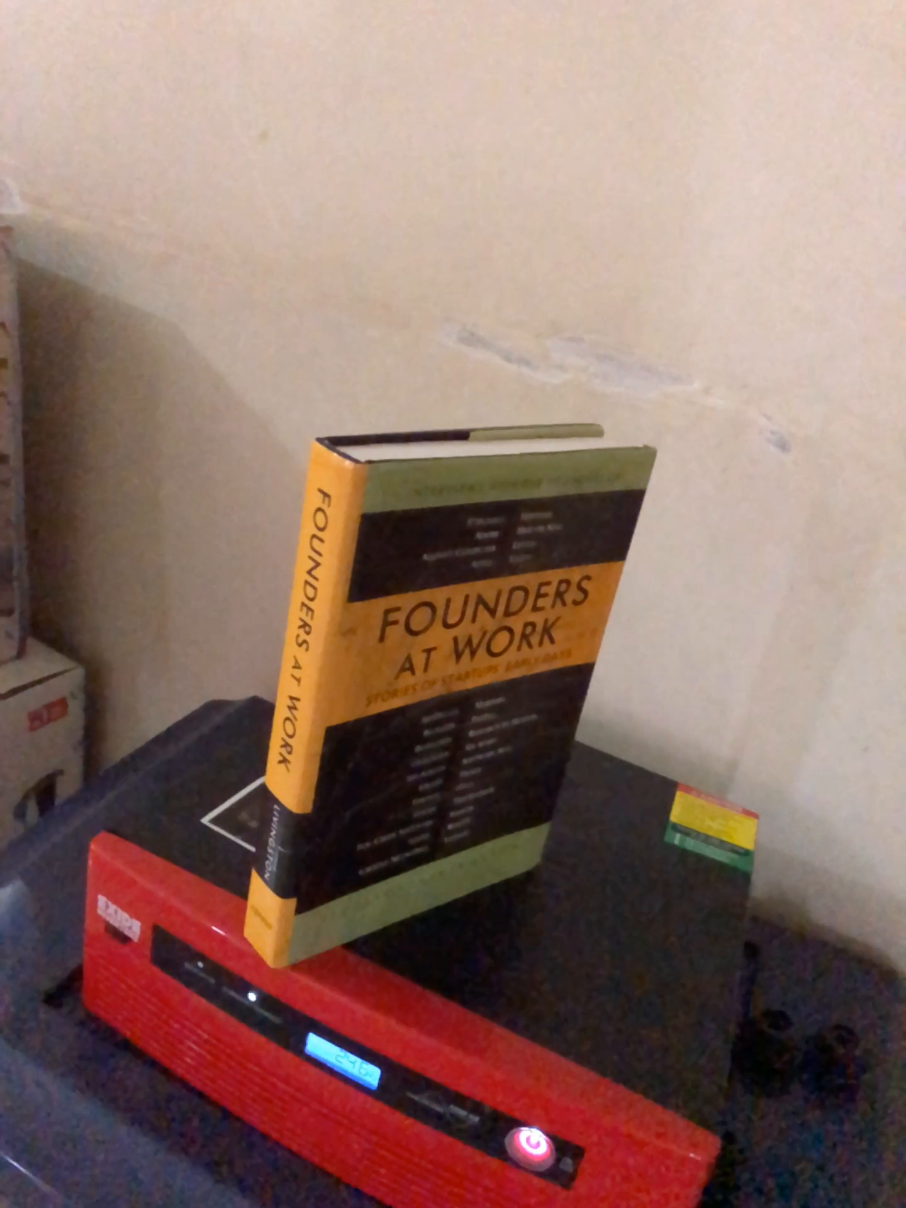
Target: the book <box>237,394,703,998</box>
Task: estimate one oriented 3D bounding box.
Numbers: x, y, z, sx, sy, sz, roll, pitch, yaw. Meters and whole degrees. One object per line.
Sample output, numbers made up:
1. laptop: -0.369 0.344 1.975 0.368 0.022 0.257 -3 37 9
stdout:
1. book: 0.004 0.037 0.446 0.180 0.249 0.040 -11 33 -37
